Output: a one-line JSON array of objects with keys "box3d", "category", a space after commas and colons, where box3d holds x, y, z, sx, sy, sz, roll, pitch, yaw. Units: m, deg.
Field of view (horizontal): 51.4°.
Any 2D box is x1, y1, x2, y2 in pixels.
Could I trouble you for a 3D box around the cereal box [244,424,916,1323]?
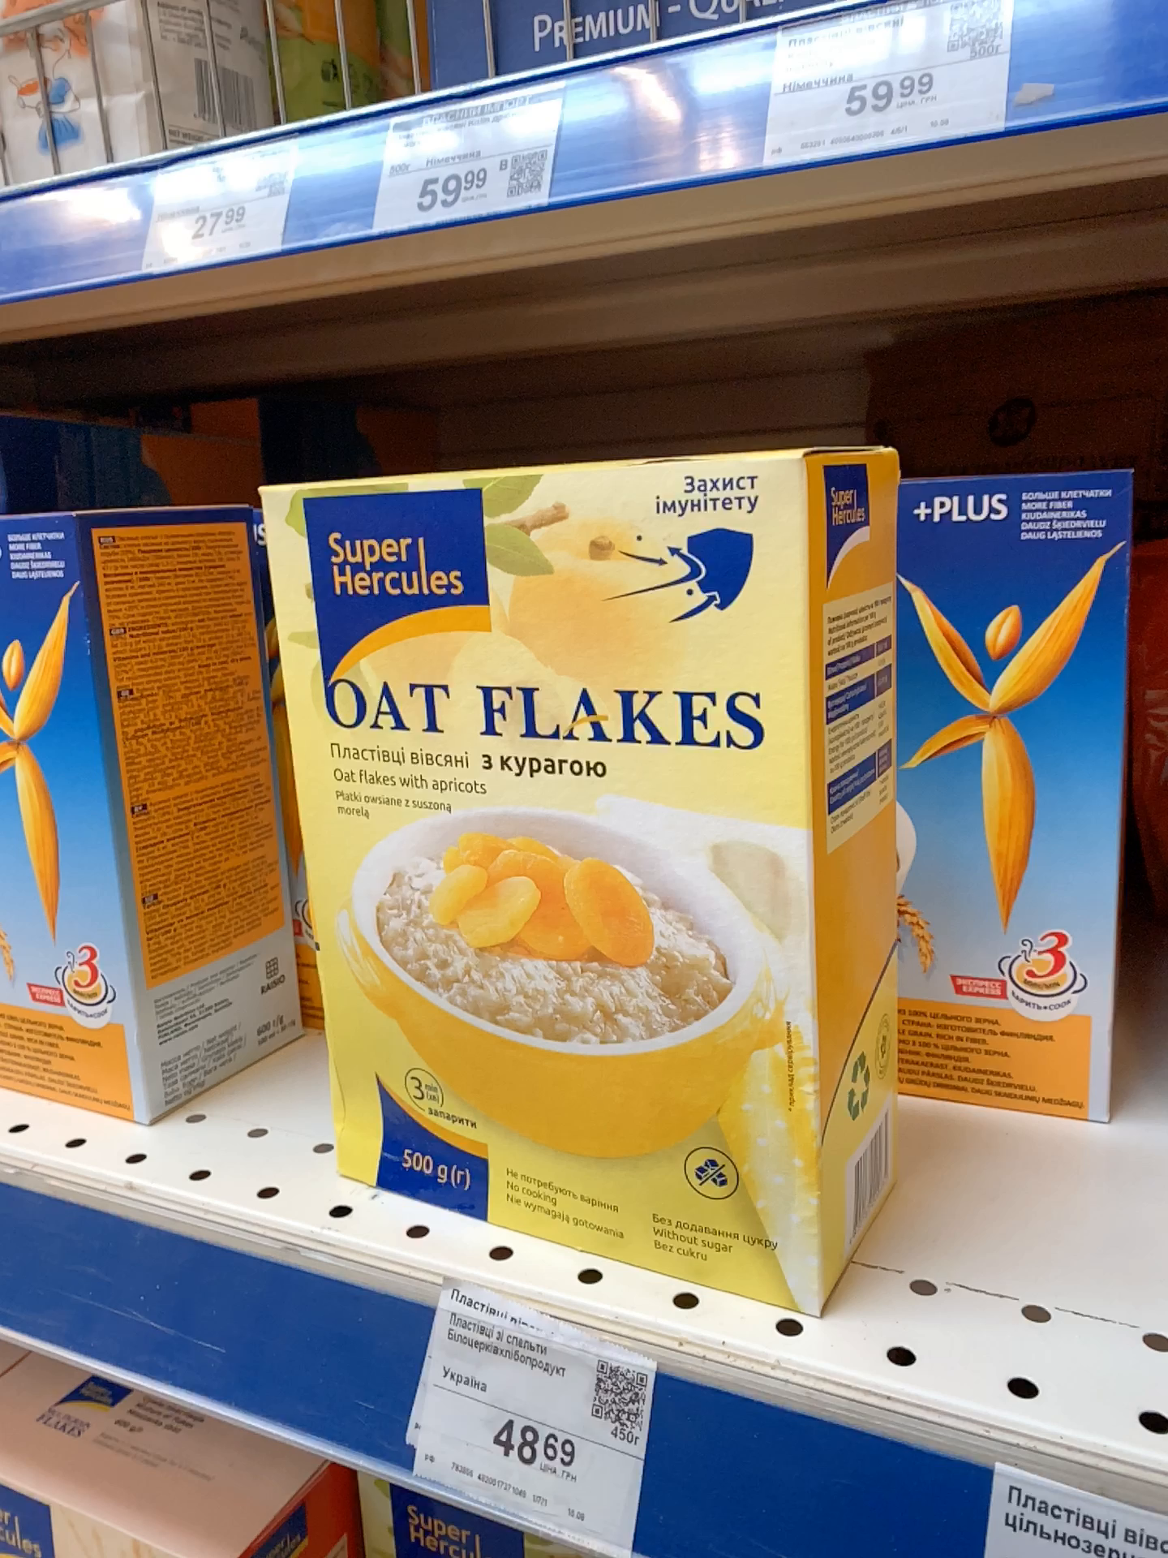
[{"box3d": [0.000, 0.014, 0.308, 0.150, 0.189, 0.060, 4, 14, 29], "category": "cereal box"}]
